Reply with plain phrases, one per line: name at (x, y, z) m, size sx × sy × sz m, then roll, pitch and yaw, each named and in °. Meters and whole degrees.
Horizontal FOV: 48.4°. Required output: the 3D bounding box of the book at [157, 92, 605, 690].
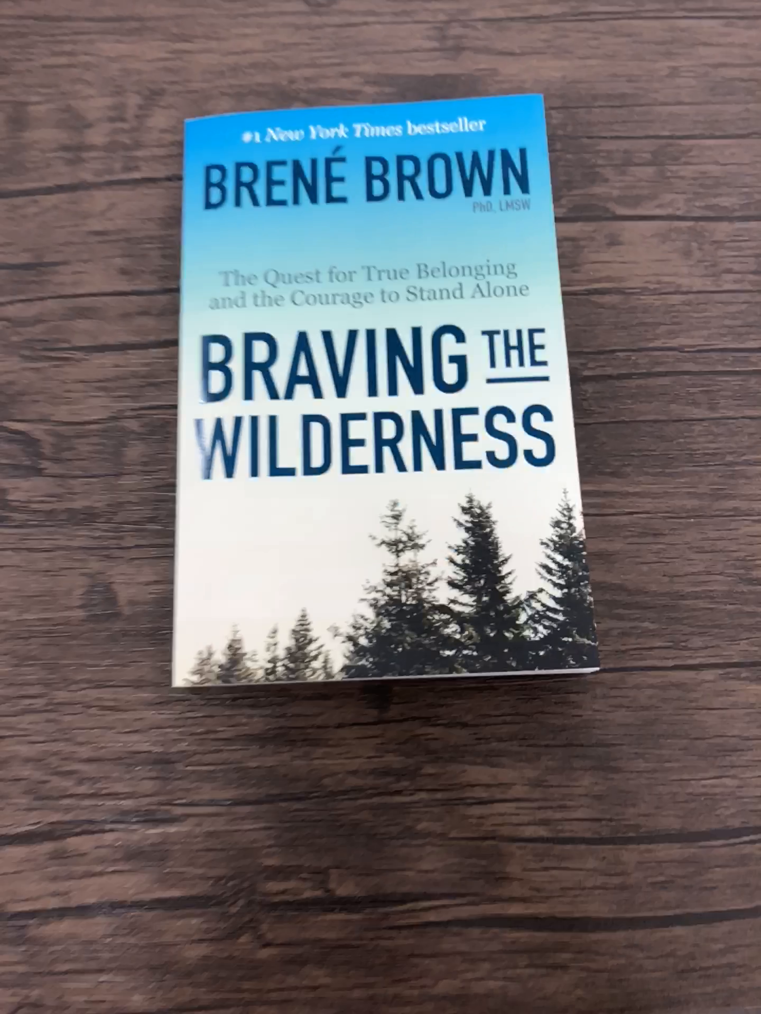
book at (-0.004, -0.041, 0.276) m, size 0.130 × 0.021 × 0.191 m, roll -3°, pitch 77°, yaw 2°
